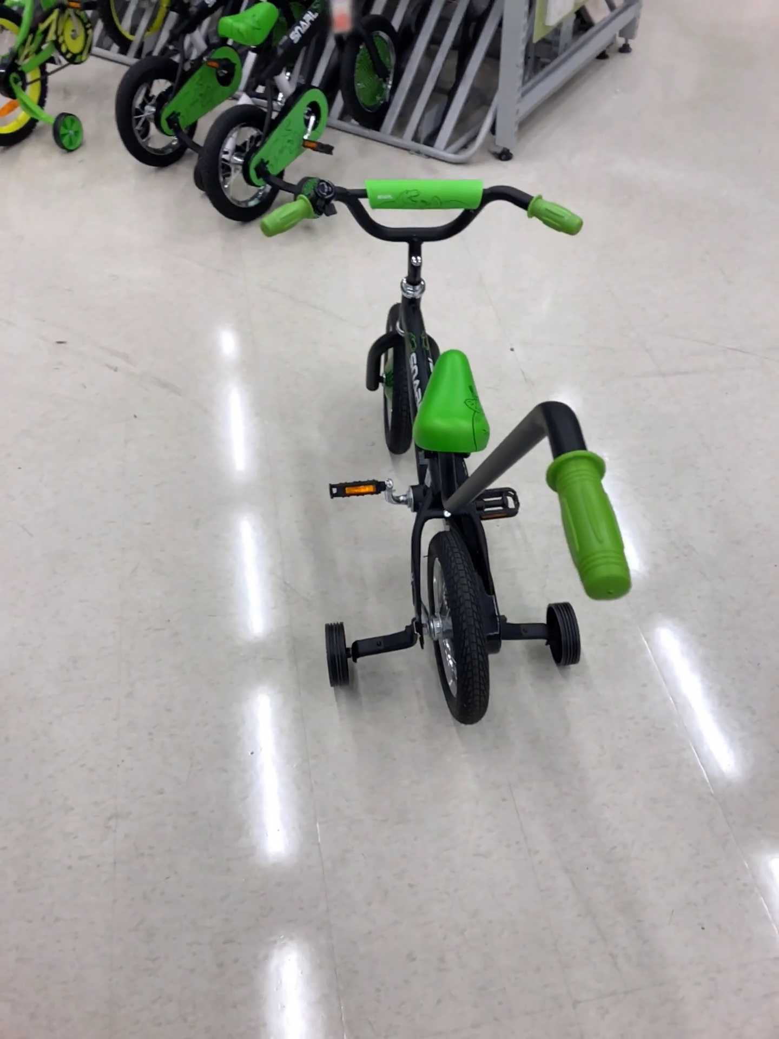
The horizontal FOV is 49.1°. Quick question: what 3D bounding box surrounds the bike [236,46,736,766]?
[{"bbox_3d":[0.068,-0.191,1.336,0.490,0.600,0.850,-7,53,-3],"label":"bike"}]
